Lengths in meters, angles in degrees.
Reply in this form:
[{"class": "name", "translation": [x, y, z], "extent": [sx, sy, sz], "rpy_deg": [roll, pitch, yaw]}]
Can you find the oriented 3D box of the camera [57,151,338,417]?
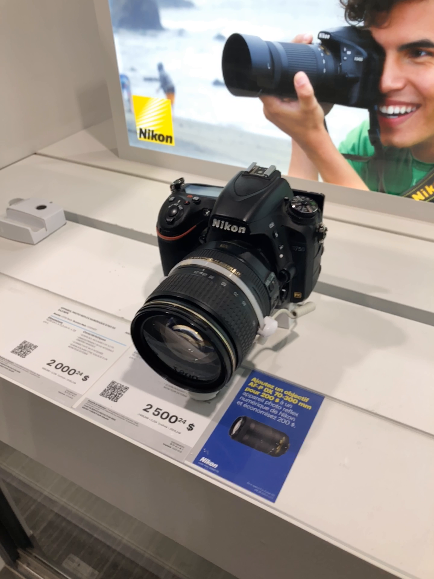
[{"class": "camera", "translation": [-0.001, -0.022, 0.386], "extent": [0.138, 0.099, 0.184], "rpy_deg": [15, 40, 22]}]
